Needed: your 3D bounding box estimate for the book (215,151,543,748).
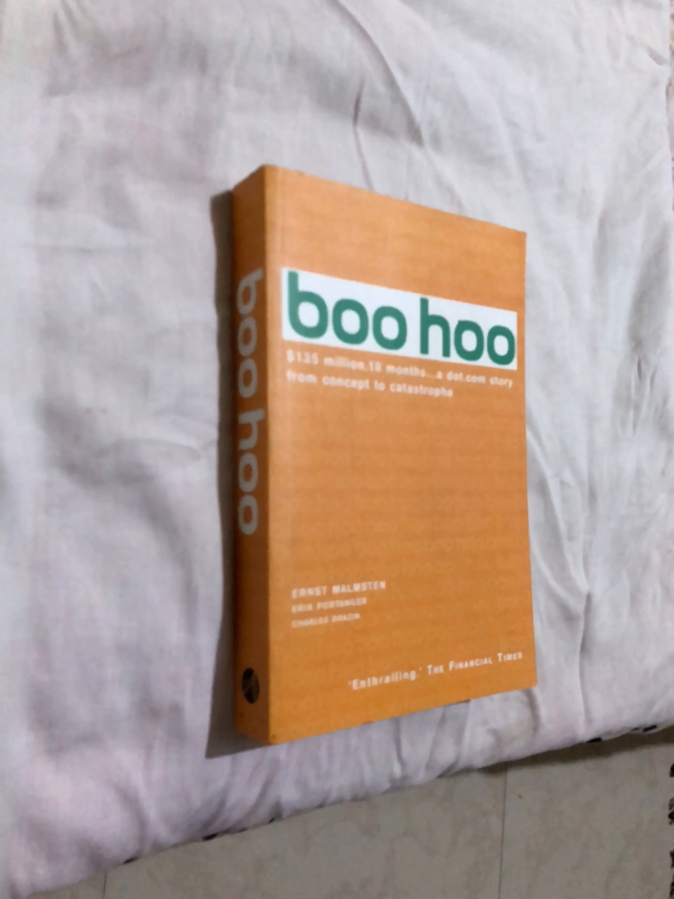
[{"bbox_3d":[0.020,0.000,0.299,0.131,0.040,0.200,2,86,-31],"label":"book"}]
